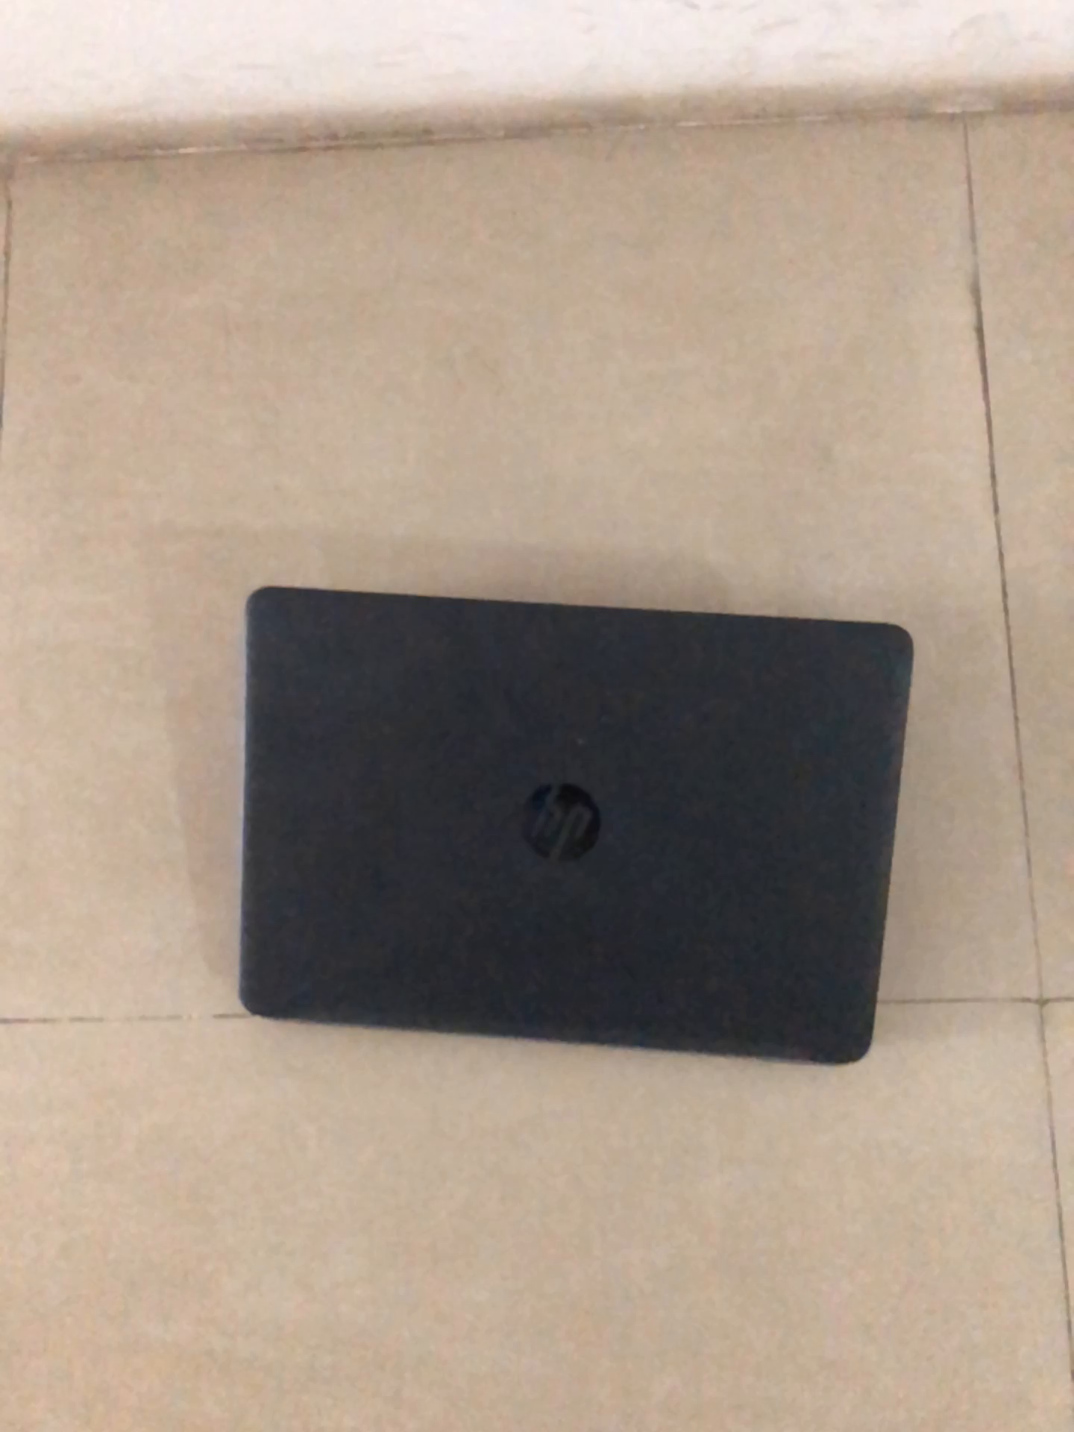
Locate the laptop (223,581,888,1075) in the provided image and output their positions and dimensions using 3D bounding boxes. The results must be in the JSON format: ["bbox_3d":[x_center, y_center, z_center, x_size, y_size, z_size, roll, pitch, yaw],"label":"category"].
[{"bbox_3d":[0.012,0.056,0.610,0.304,0.085,0.214,4,84,3],"label":"laptop"}]
